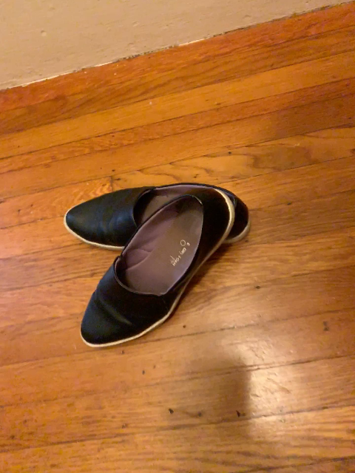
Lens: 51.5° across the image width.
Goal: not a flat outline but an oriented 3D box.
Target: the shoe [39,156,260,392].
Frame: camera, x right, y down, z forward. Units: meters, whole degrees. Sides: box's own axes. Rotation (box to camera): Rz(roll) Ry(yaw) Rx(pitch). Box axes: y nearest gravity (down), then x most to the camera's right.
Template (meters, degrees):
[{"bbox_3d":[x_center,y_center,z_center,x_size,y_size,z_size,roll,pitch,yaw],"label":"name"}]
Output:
[{"bbox_3d":[-0.037,0.047,0.424,0.100,0.080,0.250,46,105,23],"label":"shoe"}]

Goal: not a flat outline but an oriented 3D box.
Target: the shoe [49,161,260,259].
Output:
[{"bbox_3d":[-0.024,-0.032,0.493,0.260,0.080,0.100,0,69,11],"label":"shoe"}]
